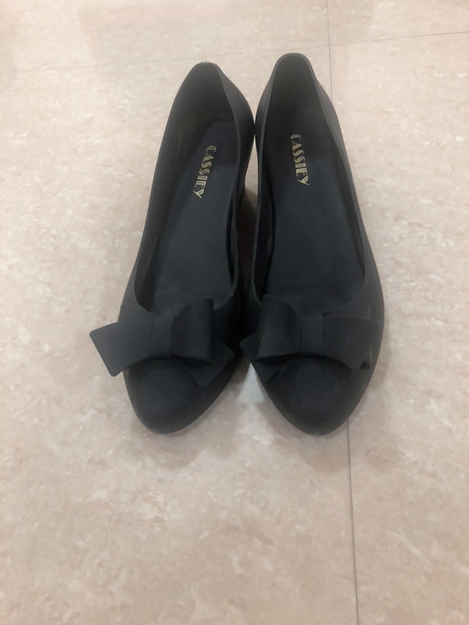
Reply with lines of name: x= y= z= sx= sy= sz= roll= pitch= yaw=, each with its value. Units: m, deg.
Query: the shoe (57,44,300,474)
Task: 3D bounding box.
shoe: x=-0.013 y=-0.059 z=0.366 sx=0.090 sy=0.090 sz=0.311 roll=2 pitch=55 yaw=12

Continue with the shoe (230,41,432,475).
shoe: x=0.058 y=-0.058 z=0.360 sx=0.090 sy=0.090 sz=0.311 roll=-2 pitch=55 yaw=9
